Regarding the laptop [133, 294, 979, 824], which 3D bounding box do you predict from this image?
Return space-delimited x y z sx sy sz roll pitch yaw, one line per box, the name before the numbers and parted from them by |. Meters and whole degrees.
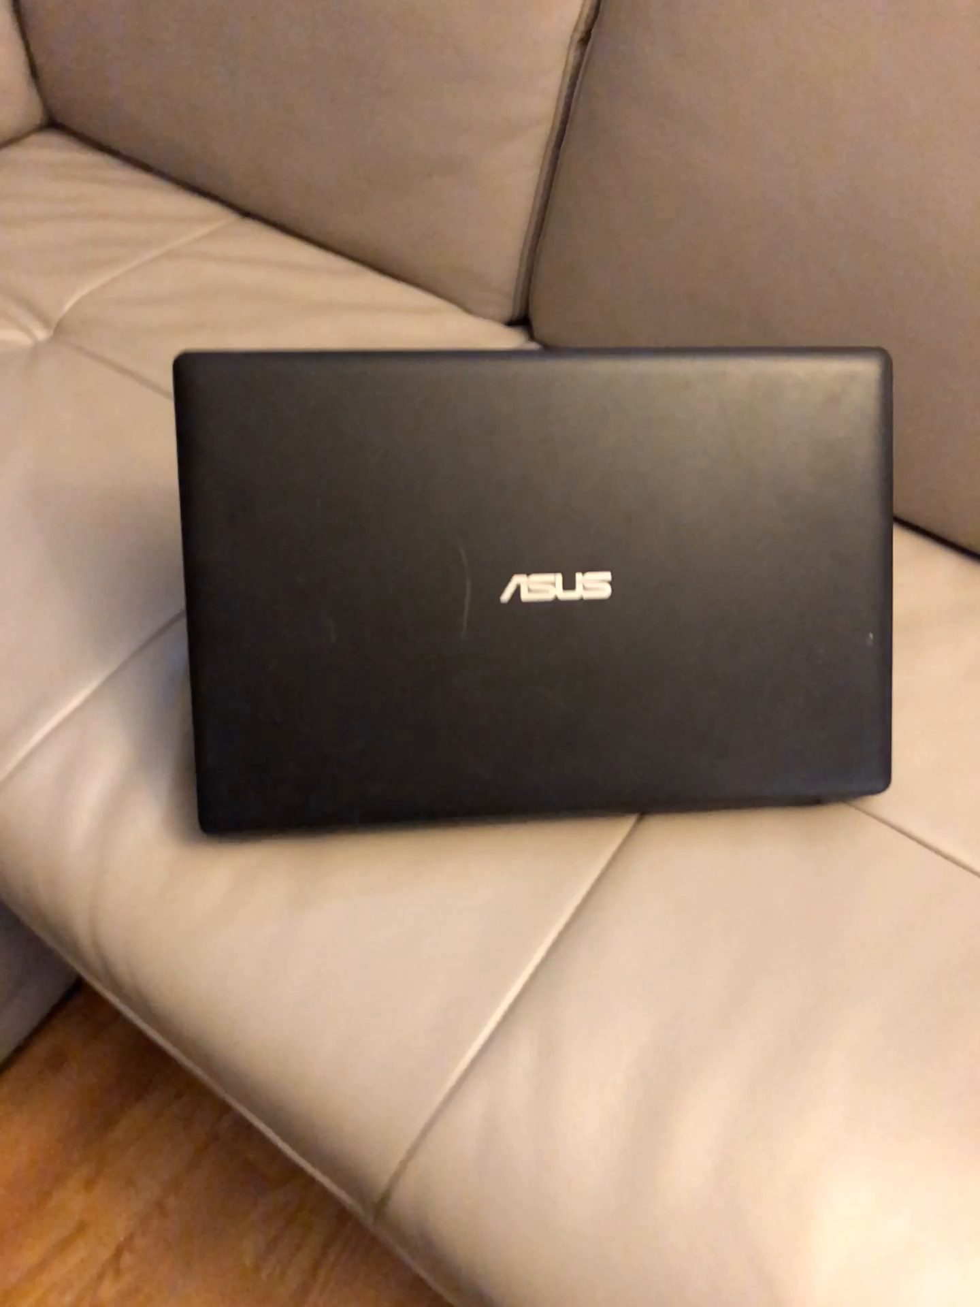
laptop | 0.024 -0.058 0.588 0.370 0.155 0.243 -2 53 -6
